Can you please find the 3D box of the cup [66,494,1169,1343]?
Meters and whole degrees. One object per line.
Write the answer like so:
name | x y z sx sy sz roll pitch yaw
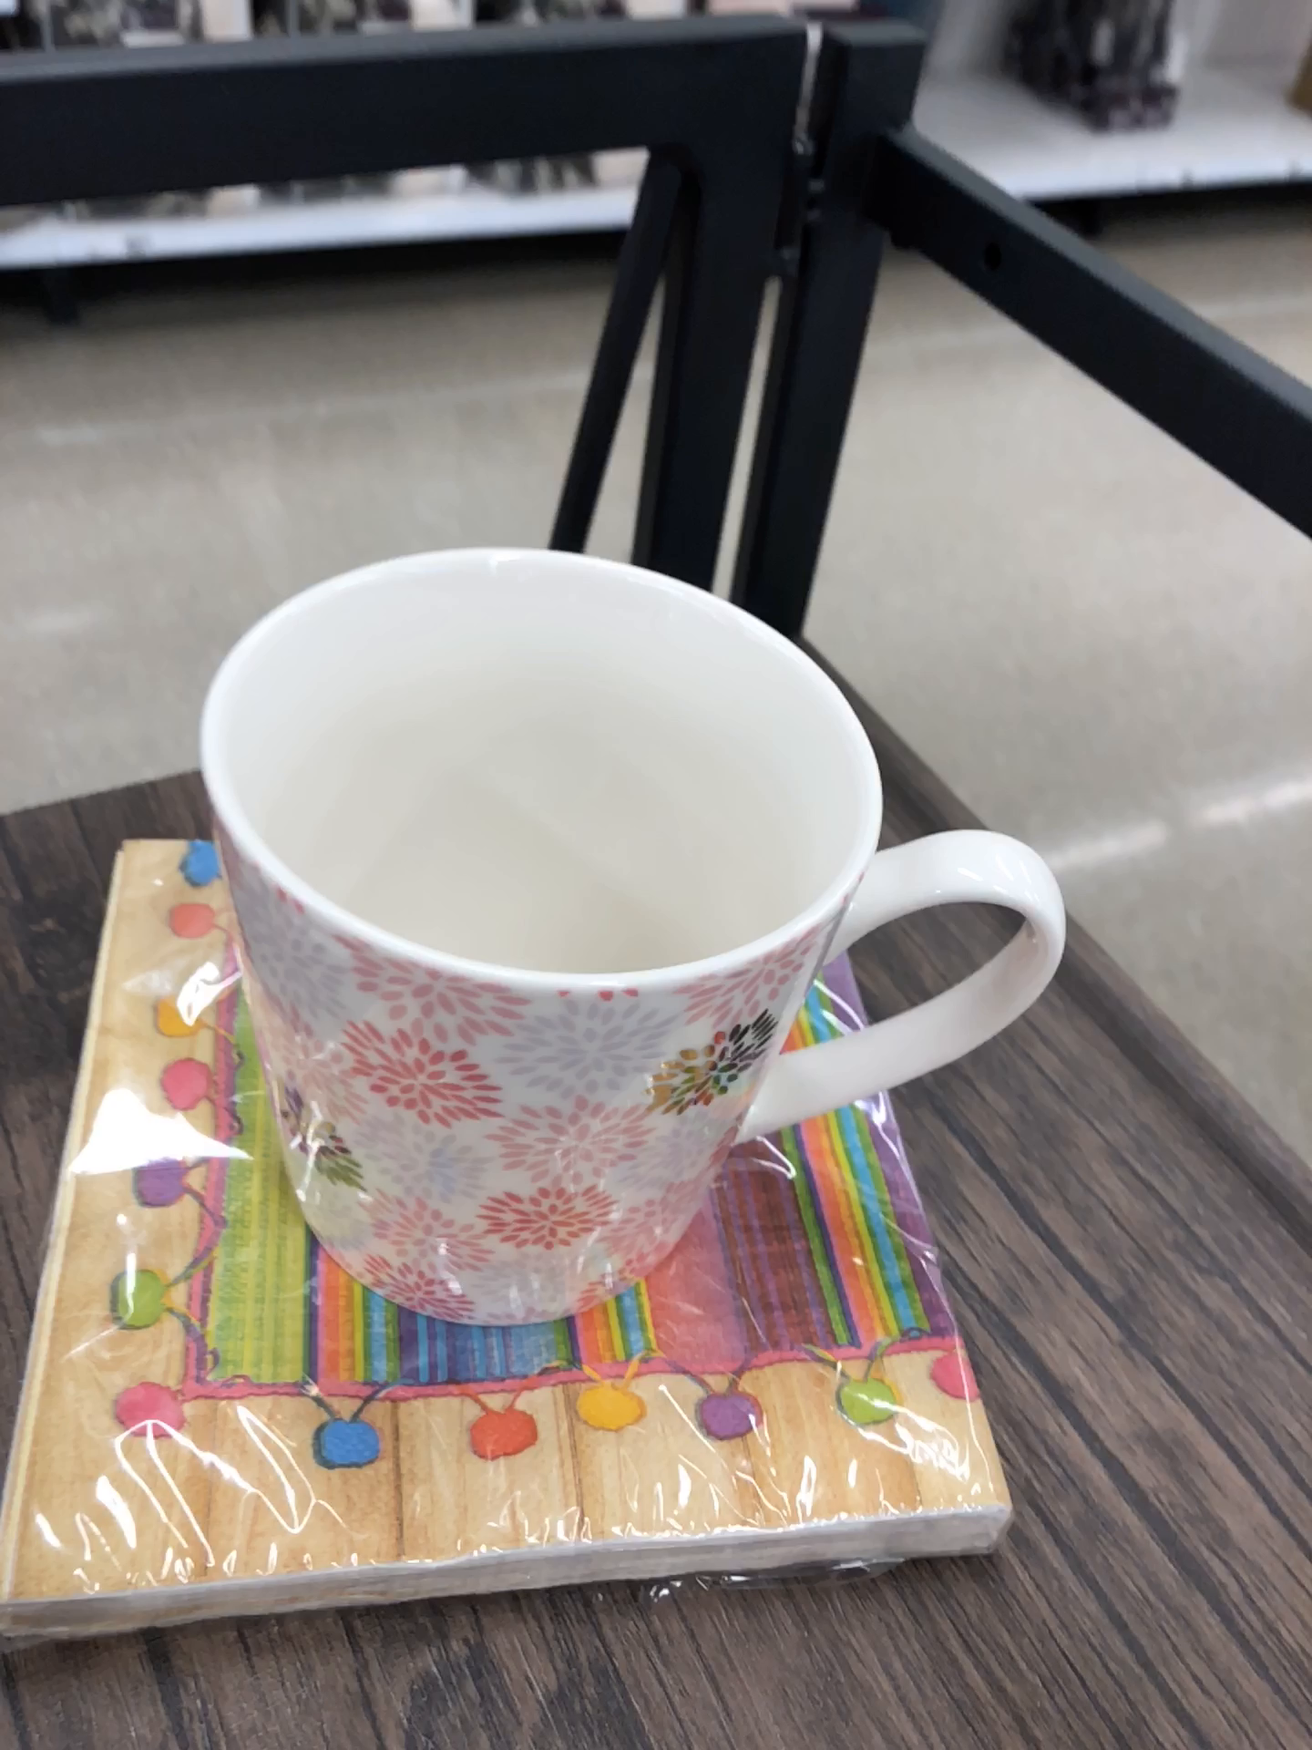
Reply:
cup | -0.010 0.010 0.256 0.140 0.100 0.100 3 45 -6
